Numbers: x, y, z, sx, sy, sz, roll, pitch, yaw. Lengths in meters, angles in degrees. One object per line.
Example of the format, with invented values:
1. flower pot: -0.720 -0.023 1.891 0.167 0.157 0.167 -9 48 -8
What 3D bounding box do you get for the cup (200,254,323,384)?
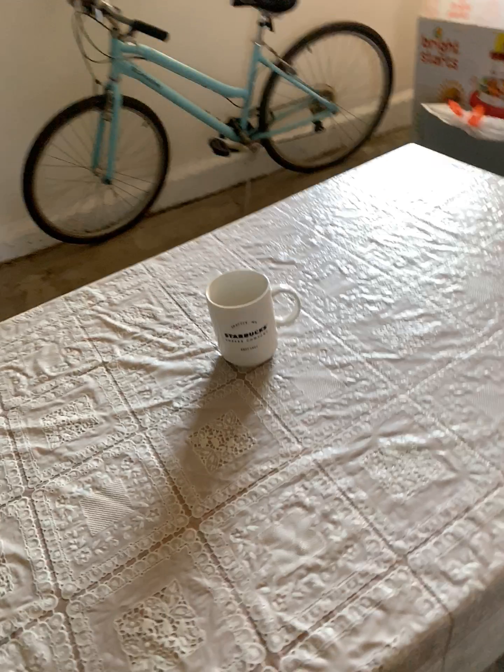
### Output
1. cup: 0.015 -0.023 0.693 0.130 0.109 0.090 -18 43 -6
